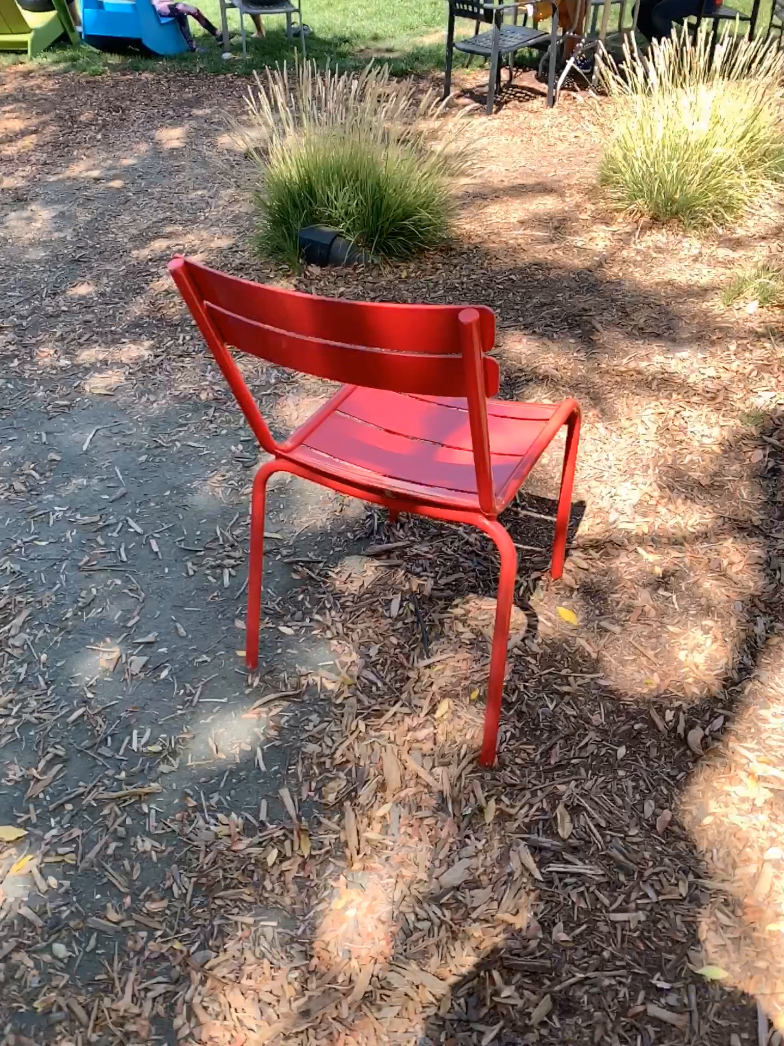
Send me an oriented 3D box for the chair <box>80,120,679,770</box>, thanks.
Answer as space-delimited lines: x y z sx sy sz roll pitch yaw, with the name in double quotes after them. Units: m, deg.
0.034 -0.140 1.346 0.612 0.785 0.572 17 48 22 "chair"
